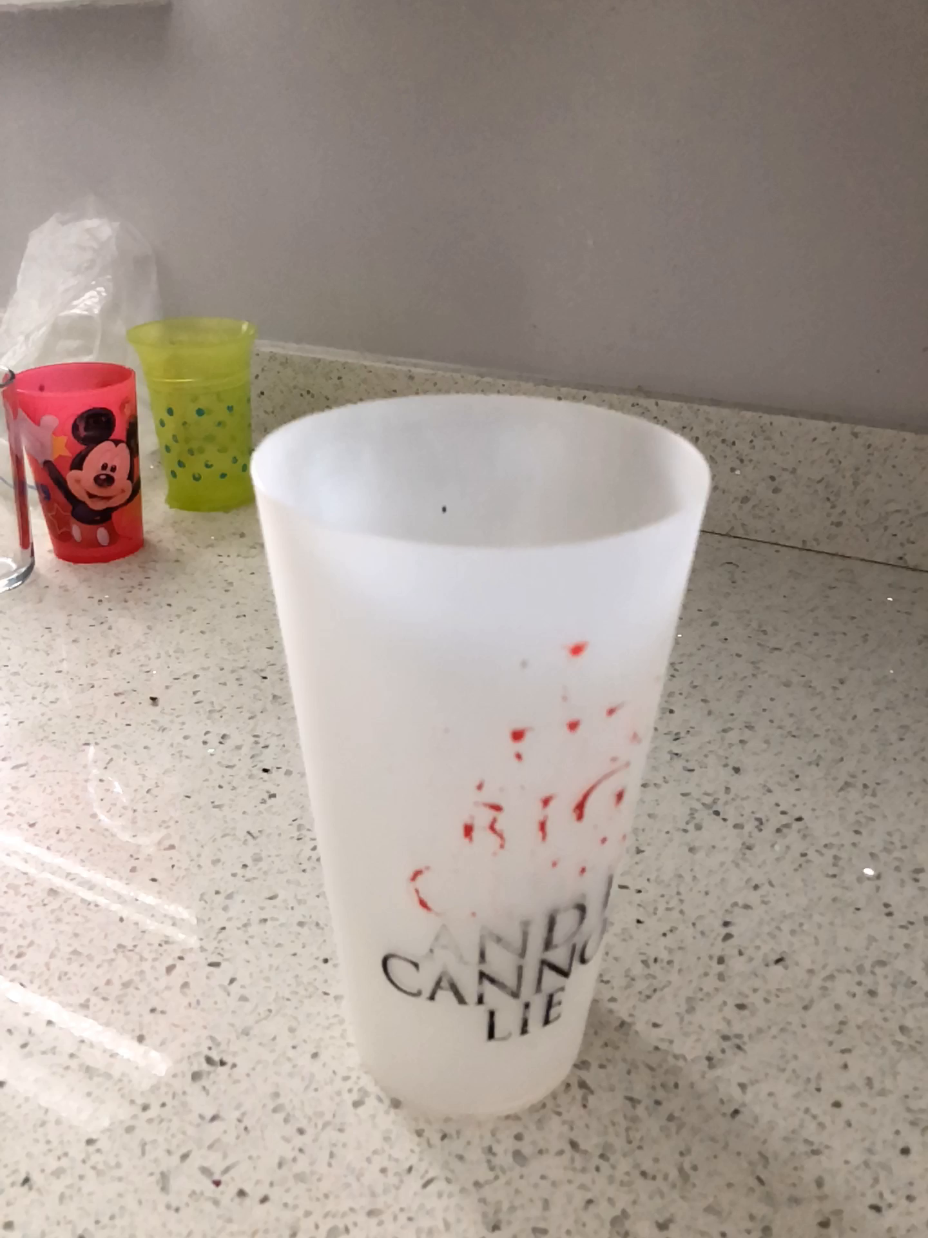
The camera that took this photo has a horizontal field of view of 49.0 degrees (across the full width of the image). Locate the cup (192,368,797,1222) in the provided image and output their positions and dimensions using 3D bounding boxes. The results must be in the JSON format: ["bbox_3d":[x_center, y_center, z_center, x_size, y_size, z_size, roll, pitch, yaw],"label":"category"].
[{"bbox_3d":[0.000,0.036,0.252,0.096,0.166,0.094,0,27,0],"label":"cup"}]
